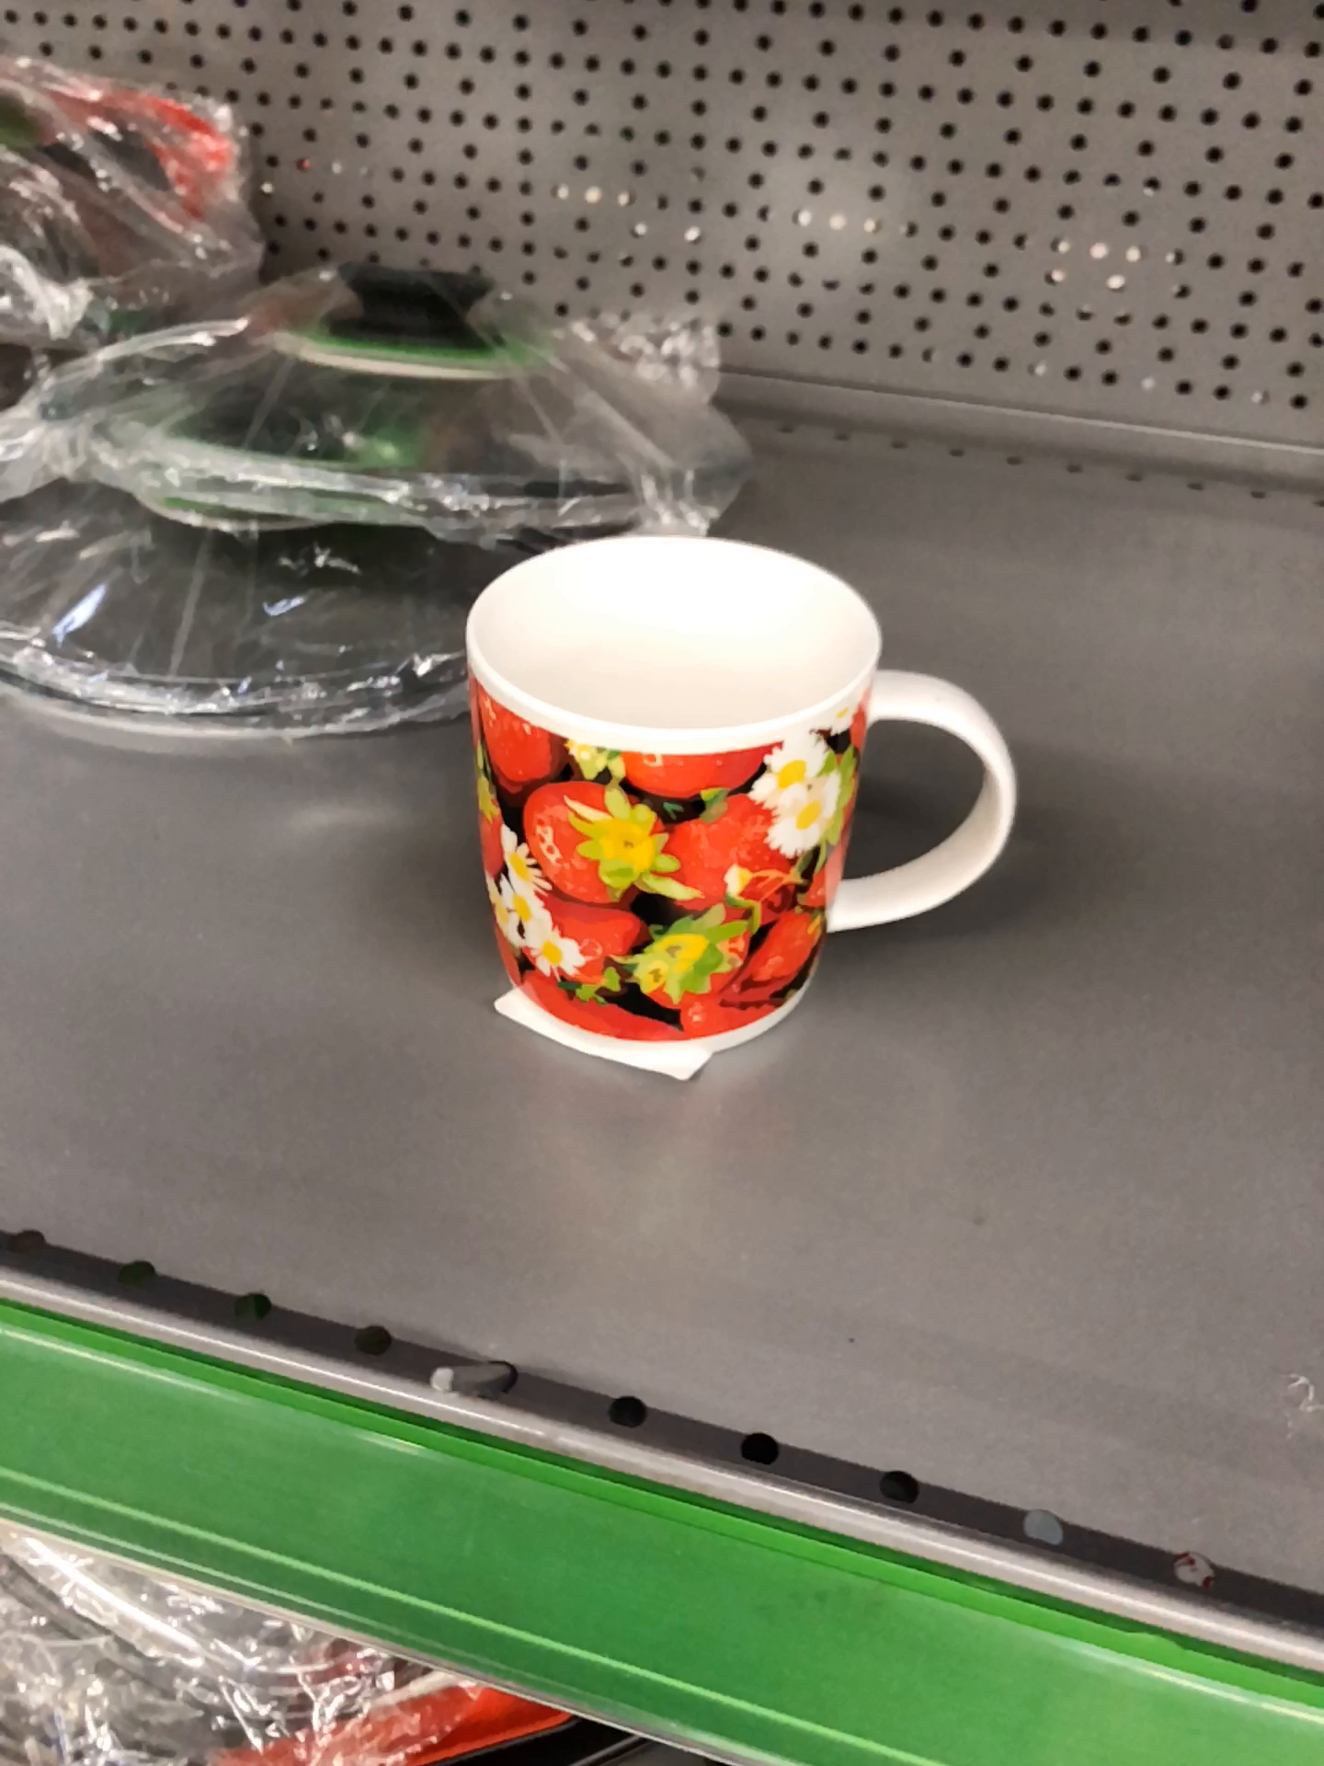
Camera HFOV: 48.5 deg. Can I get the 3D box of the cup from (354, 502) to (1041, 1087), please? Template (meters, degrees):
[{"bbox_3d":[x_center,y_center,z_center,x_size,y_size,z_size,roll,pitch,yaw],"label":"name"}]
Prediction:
[{"bbox_3d":[0.012,-0.024,0.330,0.128,0.078,0.091,8,39,7],"label":"cup"}]
